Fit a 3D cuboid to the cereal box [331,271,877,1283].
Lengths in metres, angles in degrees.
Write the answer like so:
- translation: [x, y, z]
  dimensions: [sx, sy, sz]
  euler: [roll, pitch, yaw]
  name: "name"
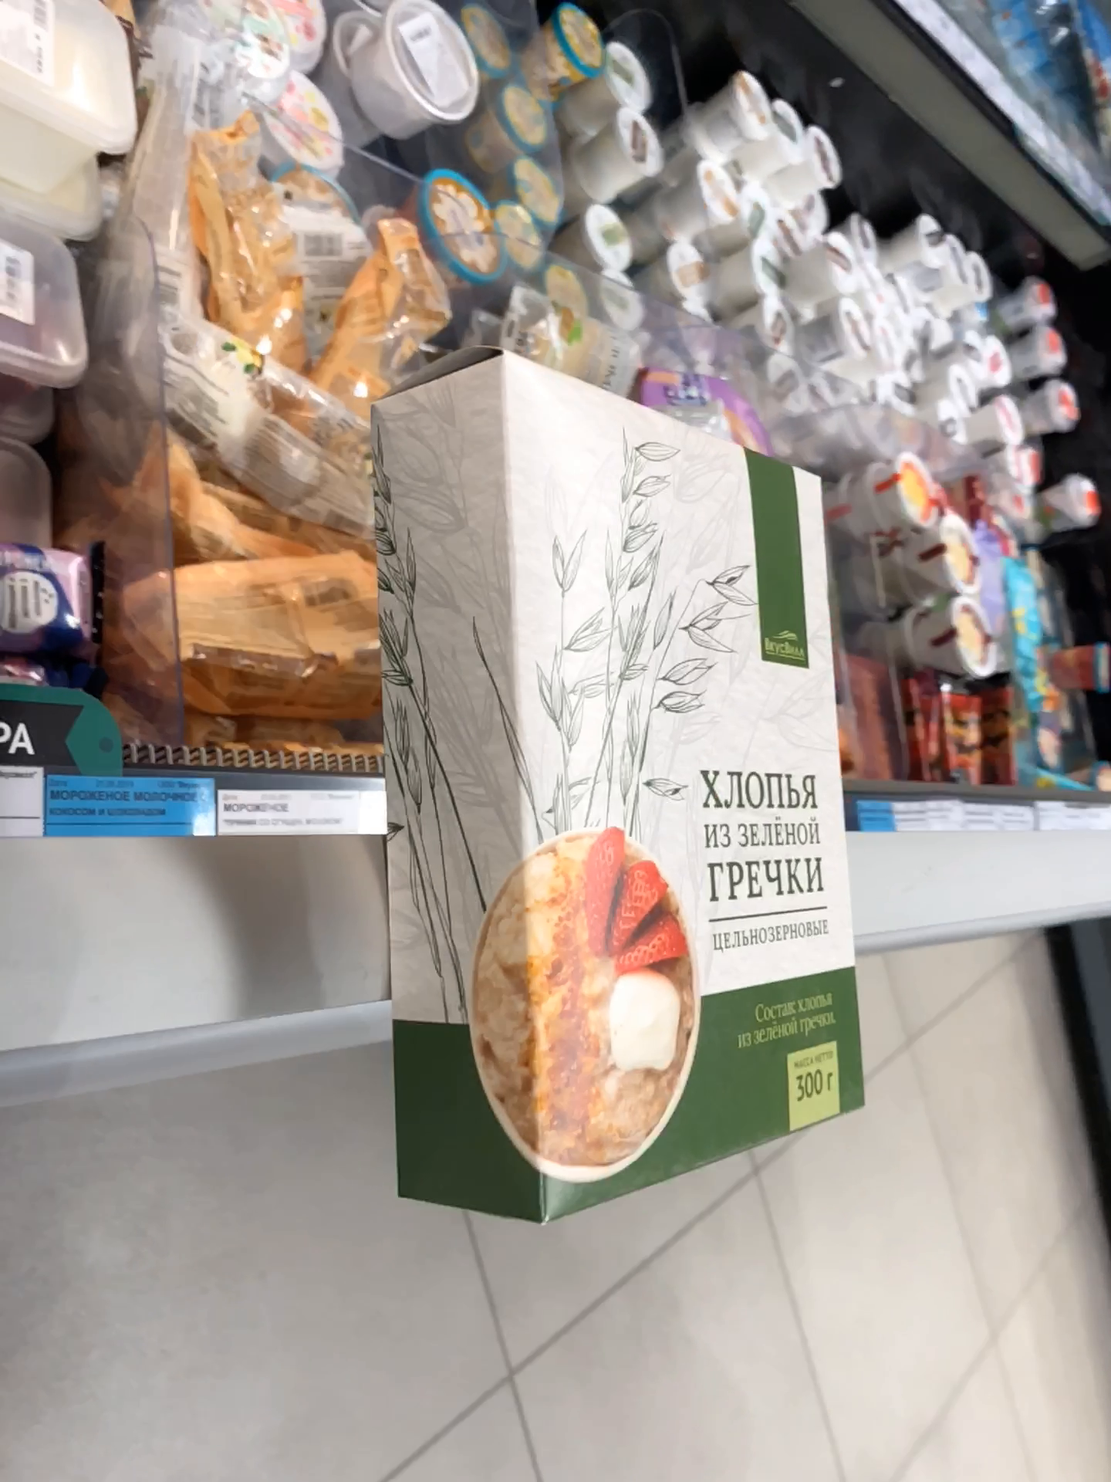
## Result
- translation: [0.020, 0.008, 0.316]
  dimensions: [0.151, 0.050, 0.200]
  euler: [2, 84, -50]
  name: "cereal box"
